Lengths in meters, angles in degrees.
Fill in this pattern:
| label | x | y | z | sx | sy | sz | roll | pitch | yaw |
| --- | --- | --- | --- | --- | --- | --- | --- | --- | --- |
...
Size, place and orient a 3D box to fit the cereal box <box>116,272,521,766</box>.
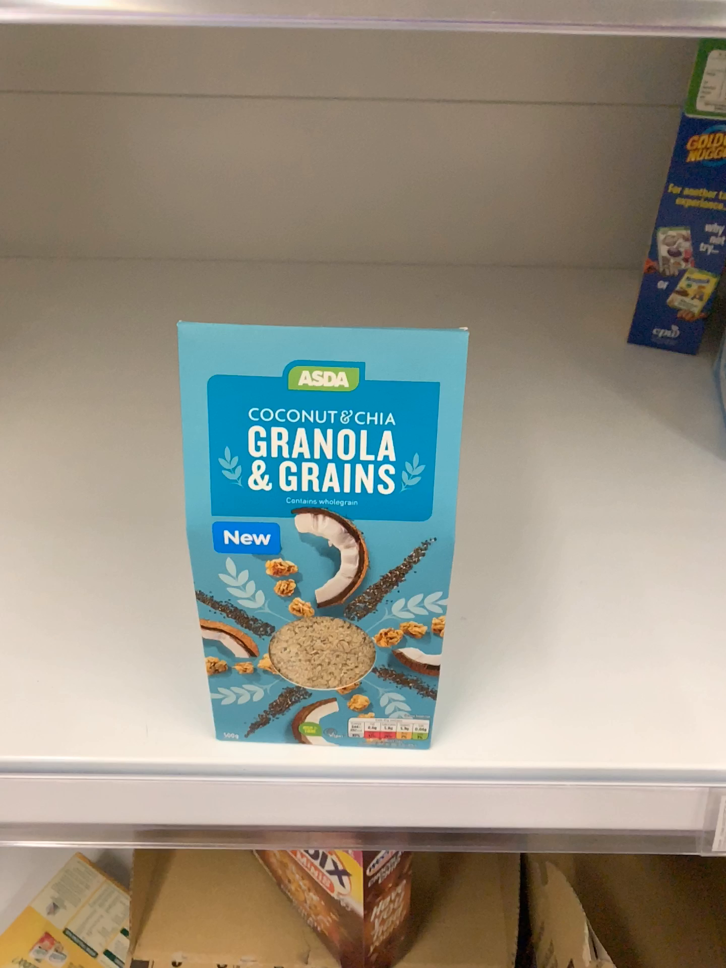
| label | x | y | z | sx | sy | sz | roll | pitch | yaw |
| --- | --- | --- | --- | --- | --- | --- | --- | --- | --- |
| cereal box | -0.016 | 0.030 | 0.358 | 0.140 | 0.238 | 0.071 | 3 | 37 | 2 |
